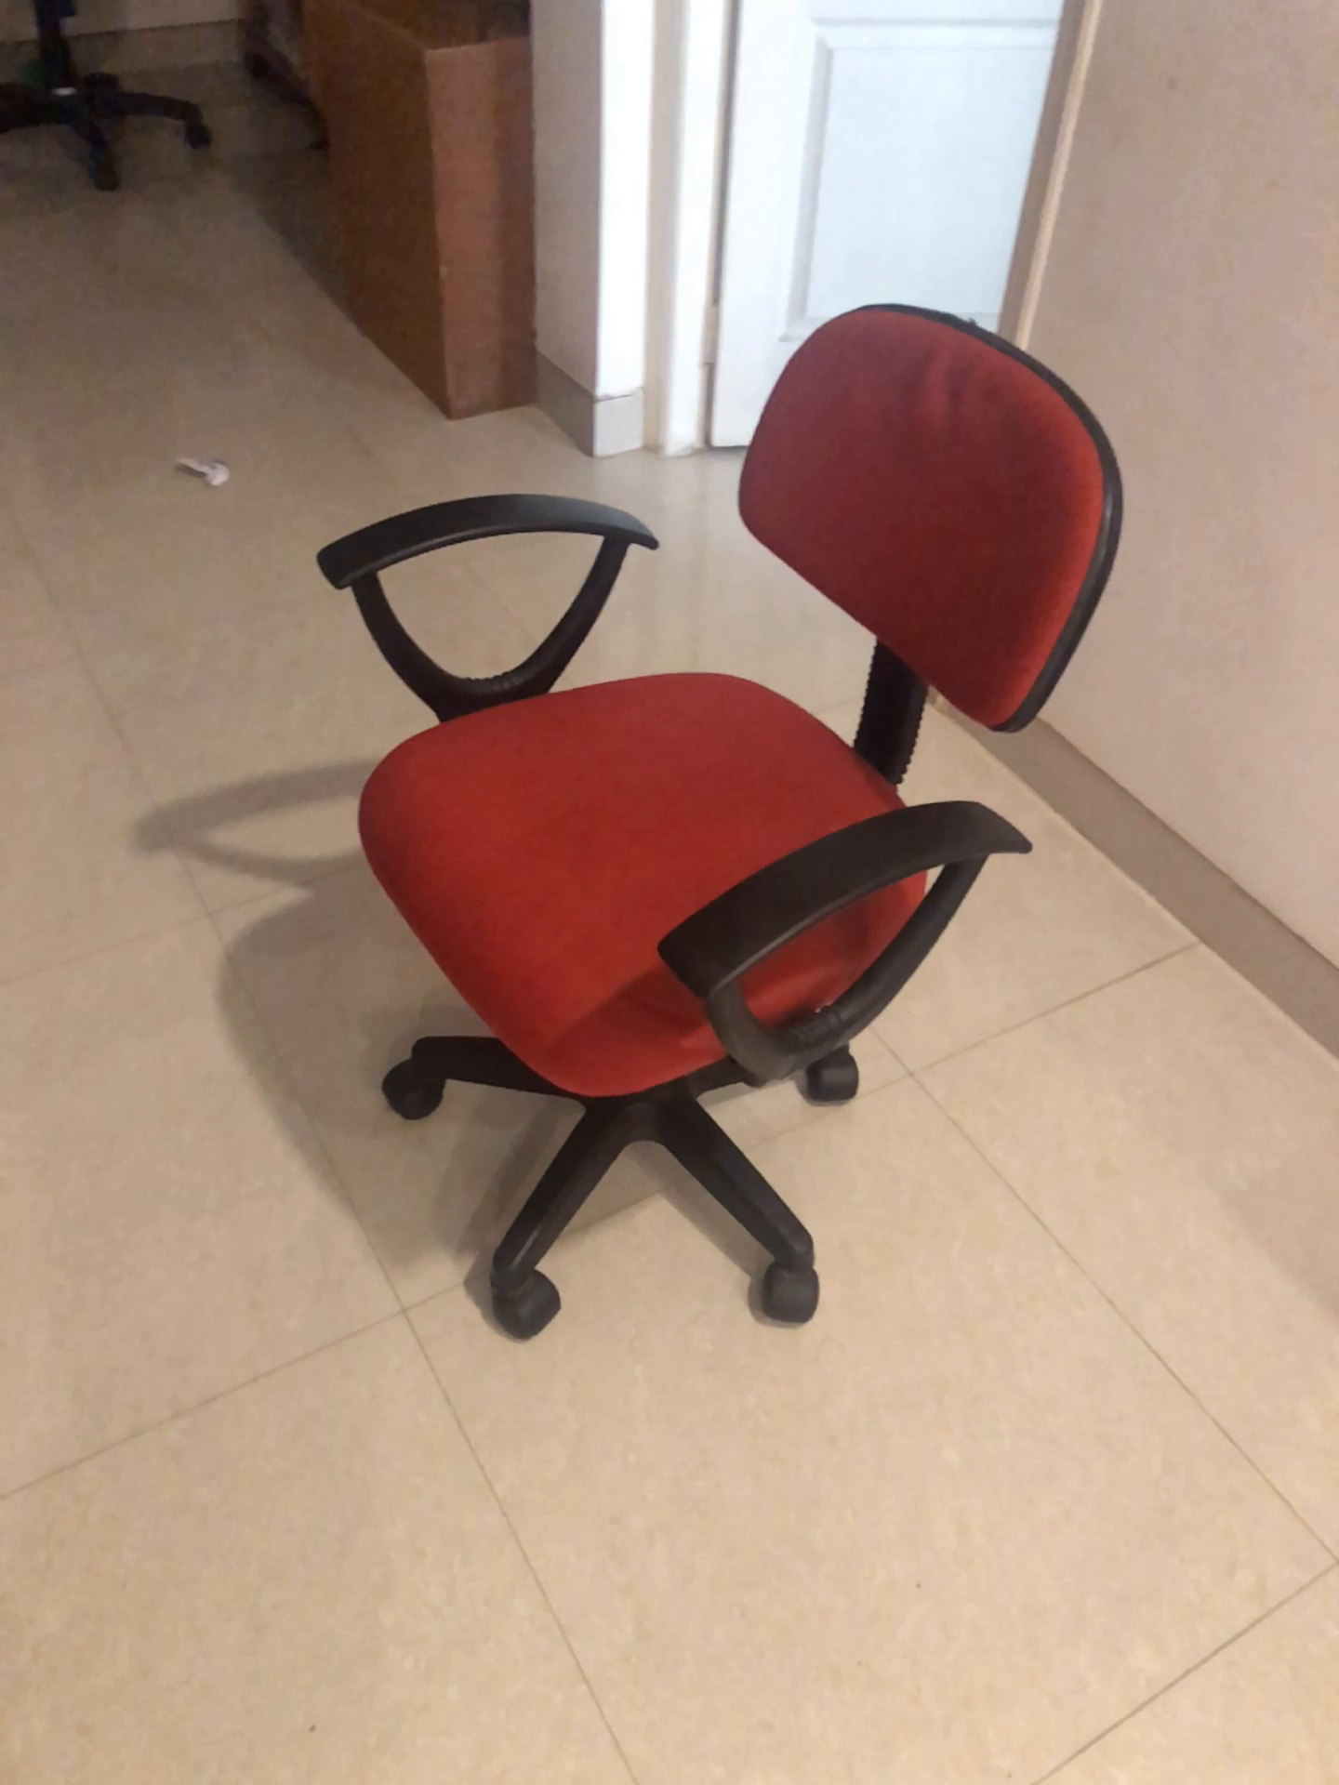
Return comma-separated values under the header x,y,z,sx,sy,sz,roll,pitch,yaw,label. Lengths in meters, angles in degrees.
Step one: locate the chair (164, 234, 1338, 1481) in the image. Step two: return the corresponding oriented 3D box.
x,y,z,sx,sy,sz,roll,pitch,yaw,label
0.026,-0.046,1.237,0.601,0.725,0.543,-21,48,-24,chair
